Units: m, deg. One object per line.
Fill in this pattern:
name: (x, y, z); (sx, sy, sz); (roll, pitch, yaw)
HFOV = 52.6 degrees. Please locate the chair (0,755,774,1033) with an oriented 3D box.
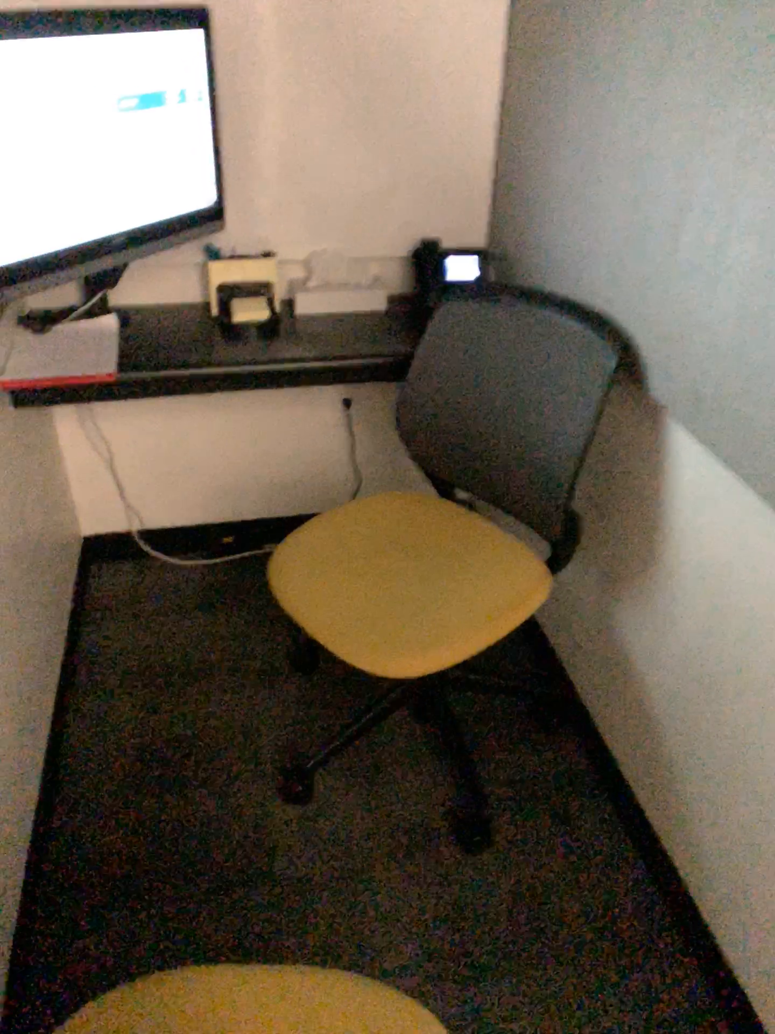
chair: (-0.061, 0.693, 0.523); (0.550, 0.845, 0.573); (4, 34, 3)

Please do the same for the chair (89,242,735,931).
chair: (0.057, 0.054, 1.884); (0.923, 1.034, 0.953); (27, 42, 32)
